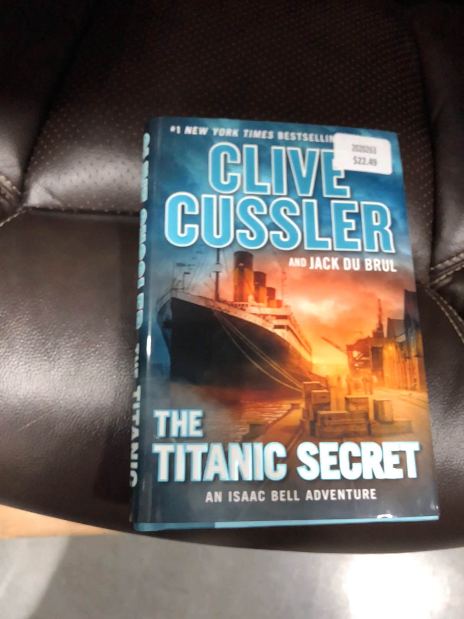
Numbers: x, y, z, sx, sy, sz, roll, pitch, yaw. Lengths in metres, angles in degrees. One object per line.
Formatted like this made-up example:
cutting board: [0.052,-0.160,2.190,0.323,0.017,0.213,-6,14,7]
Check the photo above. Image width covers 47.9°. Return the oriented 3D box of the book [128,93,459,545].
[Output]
book: [0.030,-0.002,0.307,0.165,0.040,0.249,1,75,-6]
